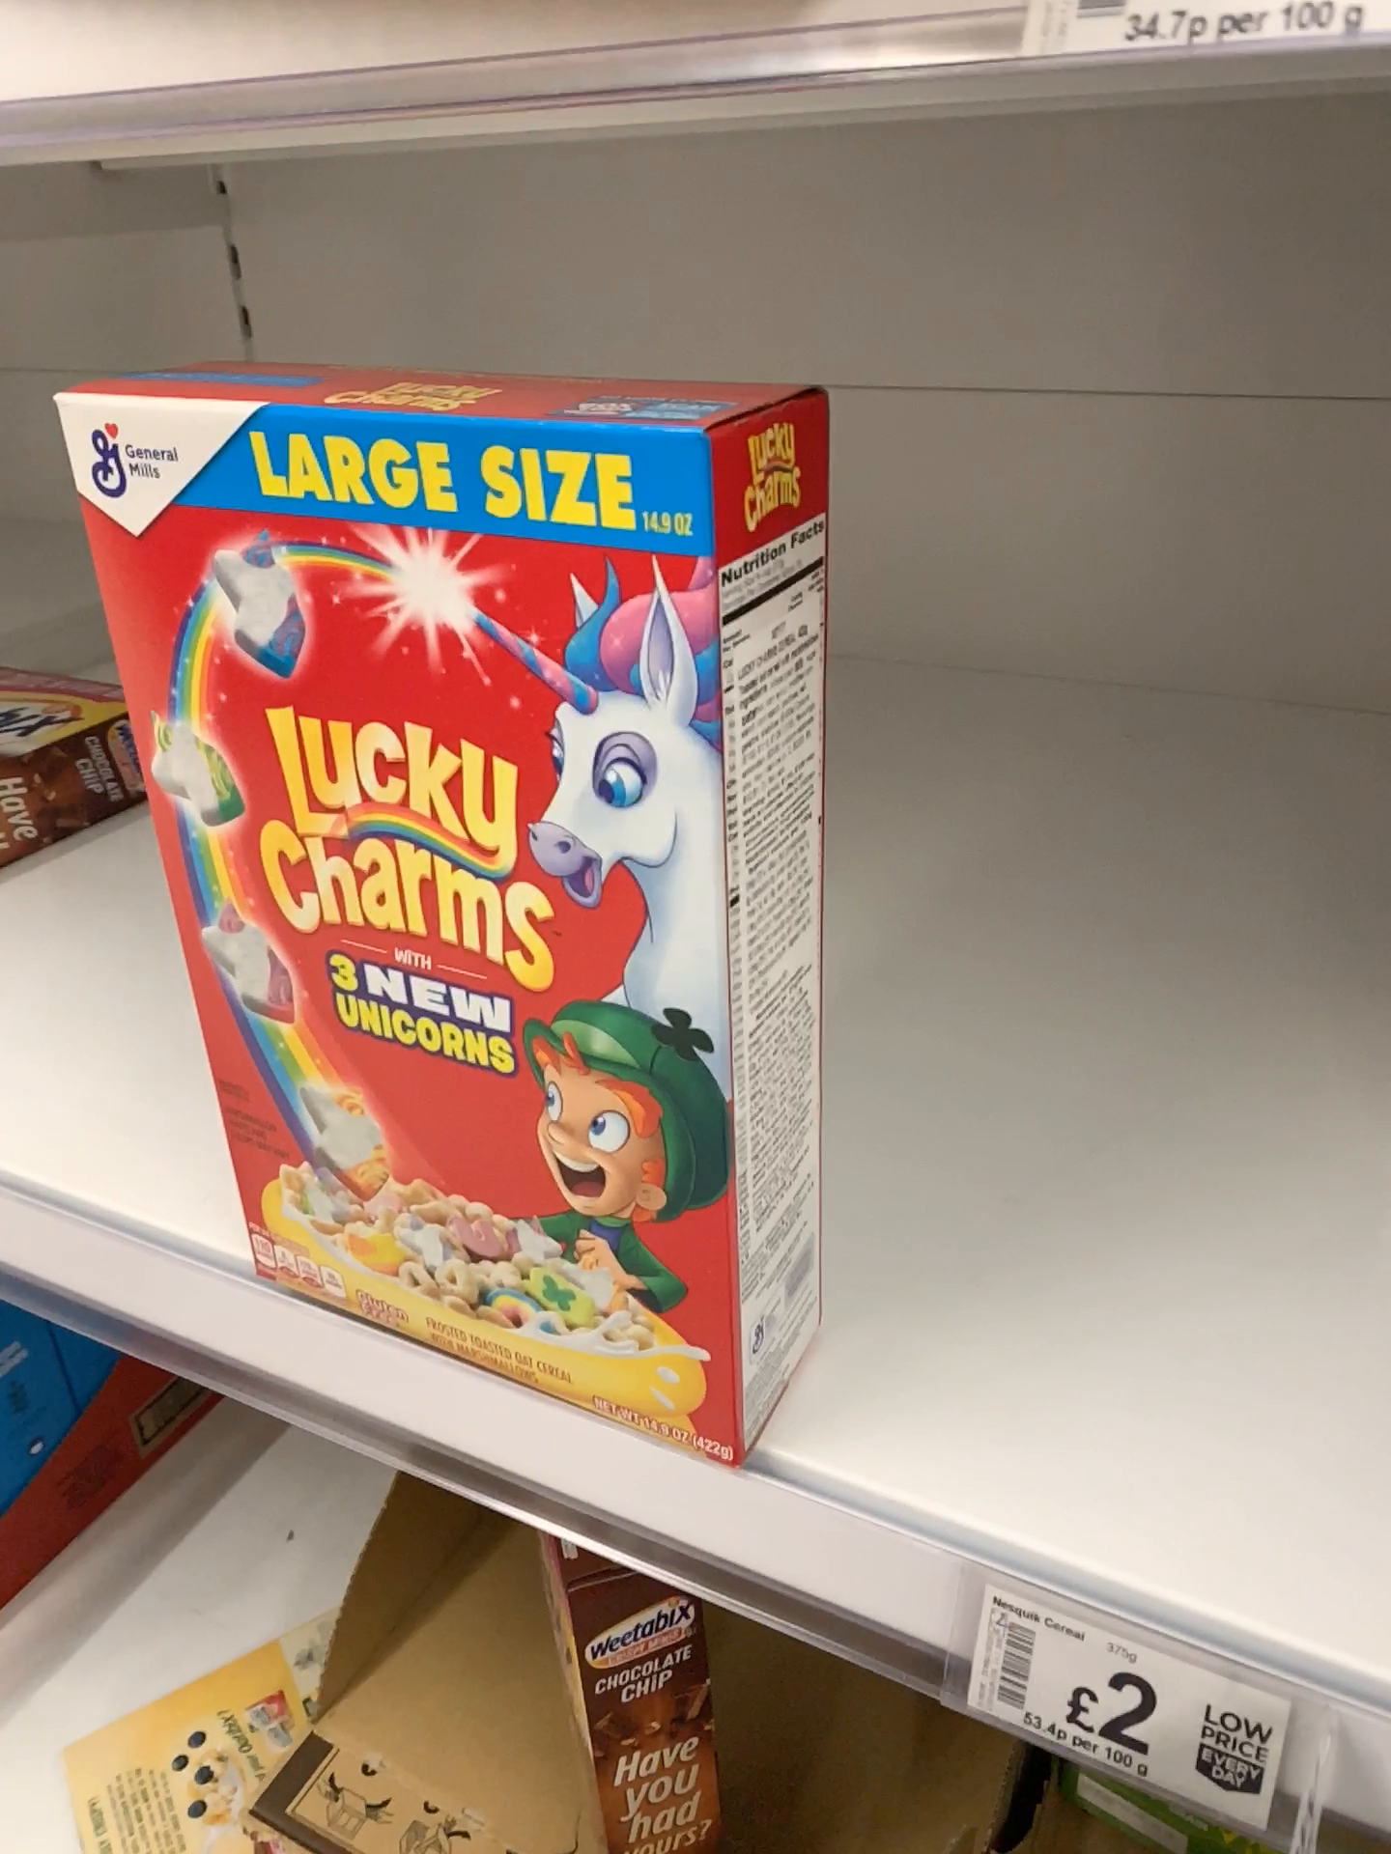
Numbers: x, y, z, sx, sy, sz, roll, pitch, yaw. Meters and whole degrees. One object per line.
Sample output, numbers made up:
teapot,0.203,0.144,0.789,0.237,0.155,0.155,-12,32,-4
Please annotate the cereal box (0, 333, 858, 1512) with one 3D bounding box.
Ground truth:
cereal box,-0.067,-0.005,0.395,0.210,0.287,0.070,12,31,27
